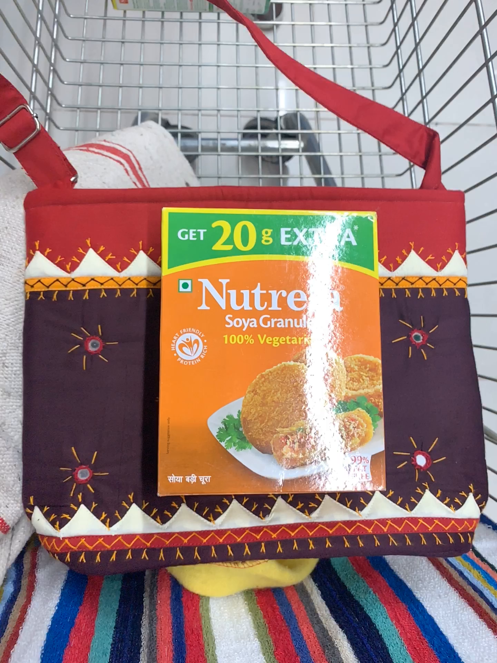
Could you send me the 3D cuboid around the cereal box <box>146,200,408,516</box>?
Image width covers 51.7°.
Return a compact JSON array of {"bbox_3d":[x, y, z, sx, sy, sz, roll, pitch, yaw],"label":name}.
[{"bbox_3d":[0.012,0.014,0.275,0.120,0.060,0.150,0,81,-3],"label":"cereal box"}]
